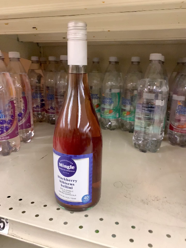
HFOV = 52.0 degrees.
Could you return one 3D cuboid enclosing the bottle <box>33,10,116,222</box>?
[{"bbox_3d":[-0.023,-0.004,0.314,0.090,0.299,0.080,7,18,22],"label":"bottle"}]
